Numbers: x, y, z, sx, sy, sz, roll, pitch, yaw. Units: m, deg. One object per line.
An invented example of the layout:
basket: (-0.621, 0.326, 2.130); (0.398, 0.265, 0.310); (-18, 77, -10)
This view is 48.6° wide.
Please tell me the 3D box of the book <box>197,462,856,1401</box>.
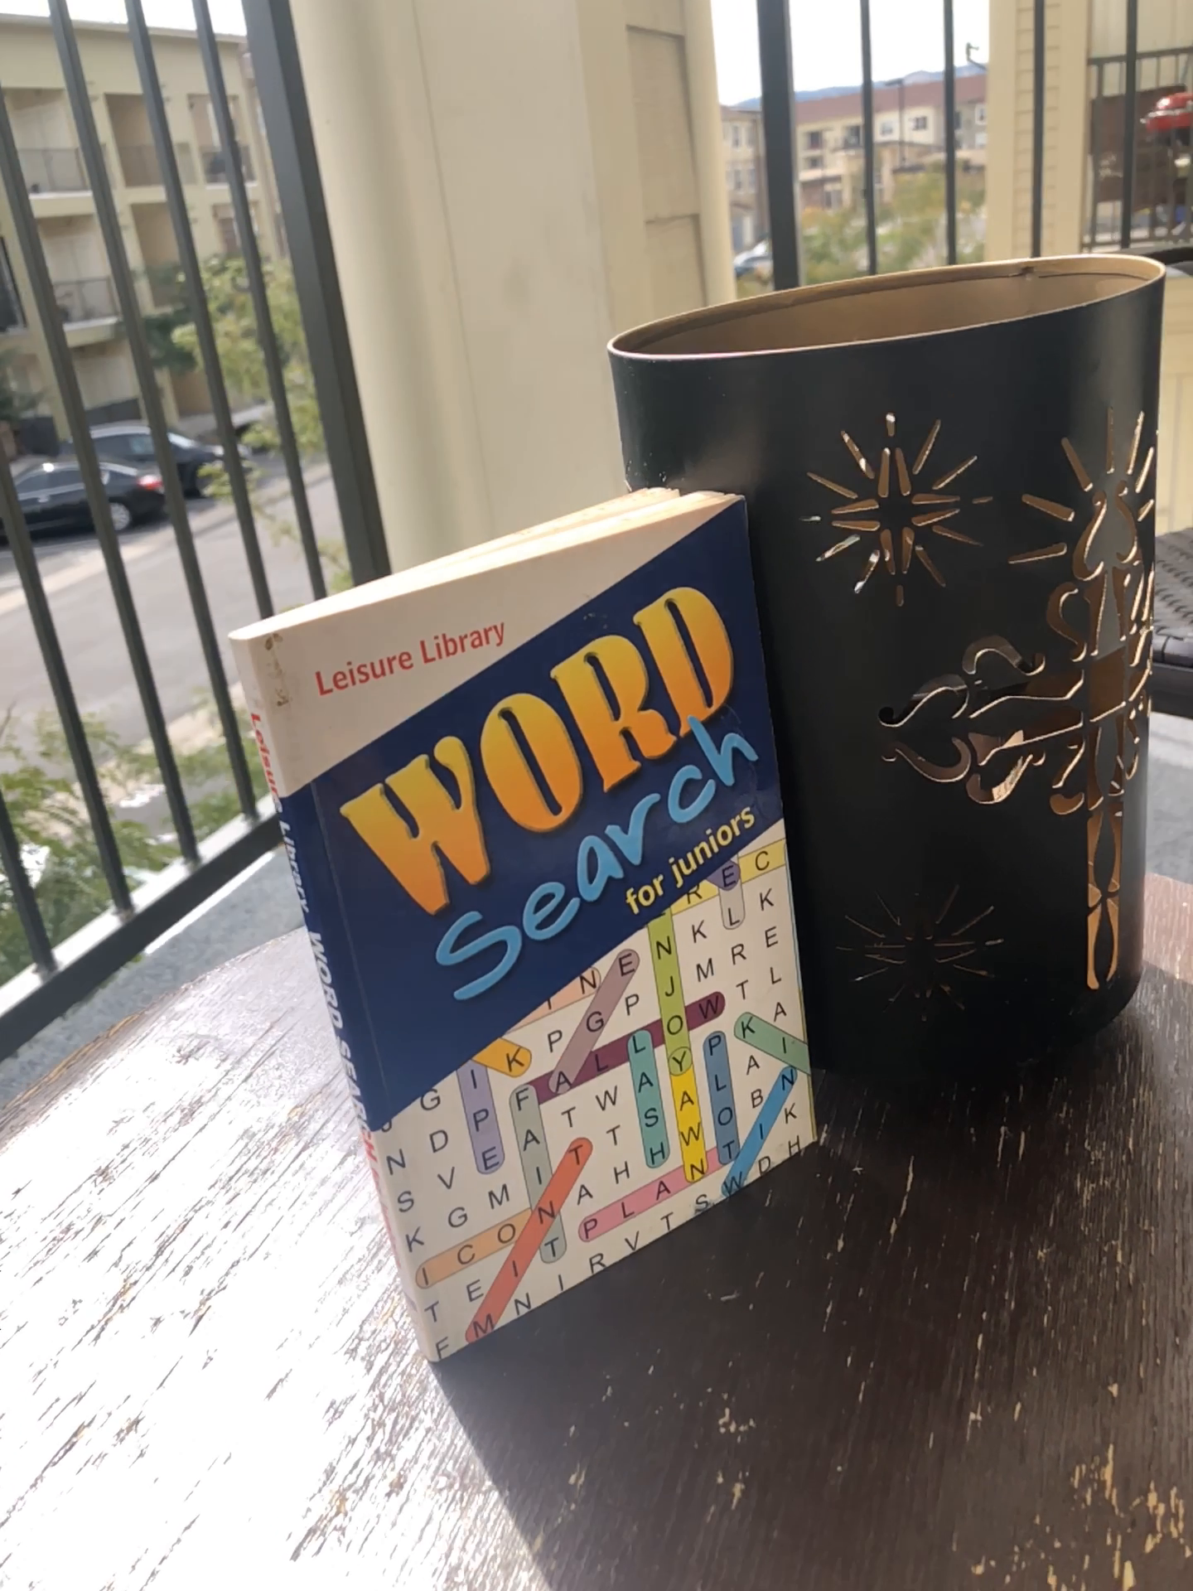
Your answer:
book: (-0.004, 0.027, 0.302); (0.124, 0.179, 0.031); (-21, 23, -29)
